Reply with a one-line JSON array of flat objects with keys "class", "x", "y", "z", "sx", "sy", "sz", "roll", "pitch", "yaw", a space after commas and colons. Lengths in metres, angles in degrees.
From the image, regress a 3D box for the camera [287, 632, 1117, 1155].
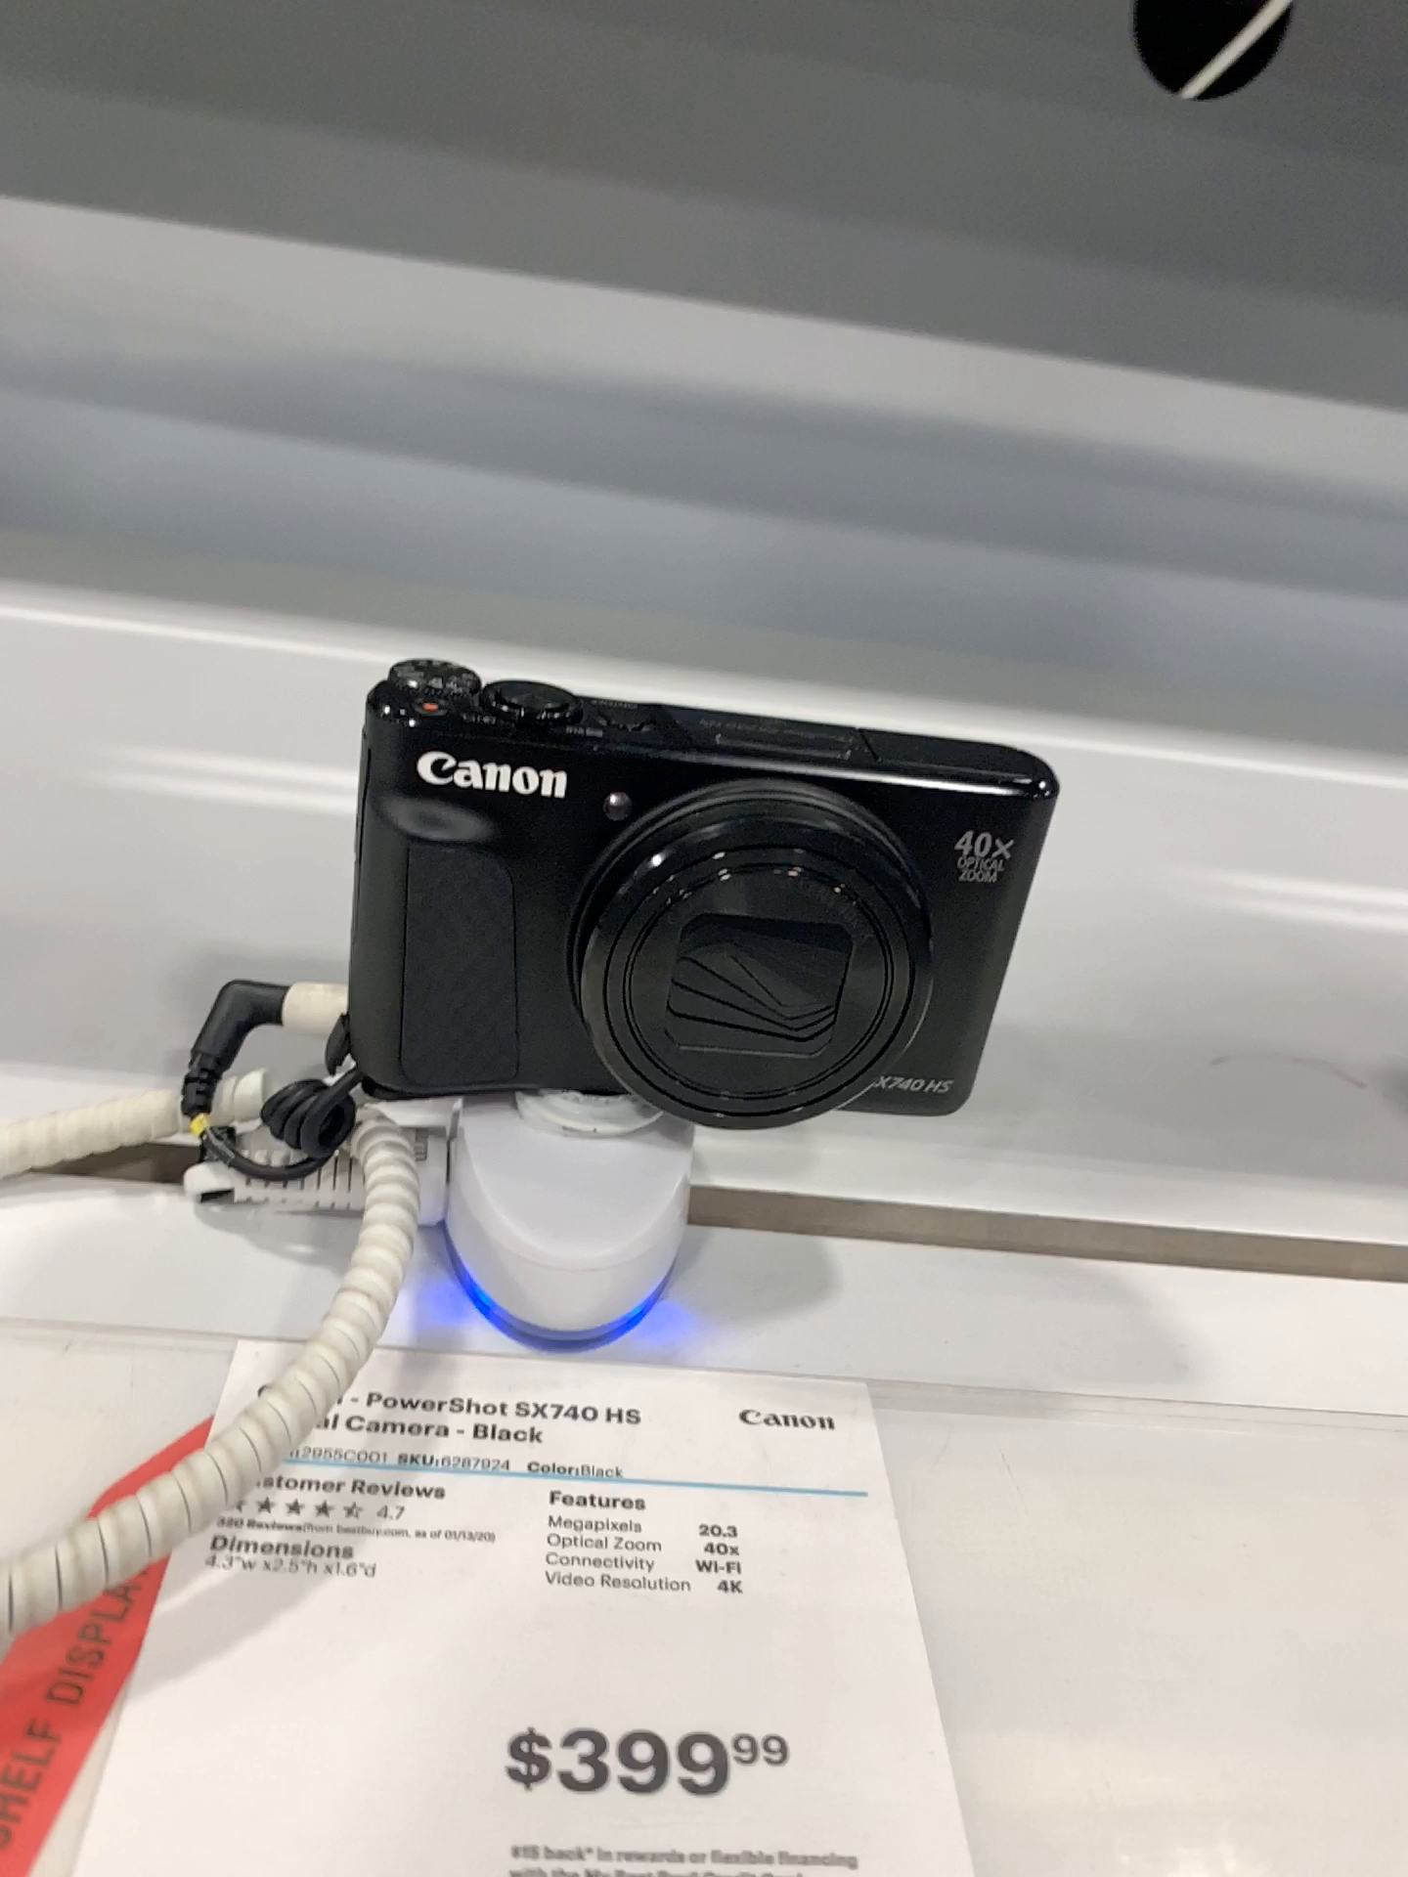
[{"class": "camera", "x": -0.004, "y": -0.006, "z": 0.245, "sx": 0.120, "sy": 0.063, "sz": 0.042, "roll": 6, "pitch": 26, "yaw": -10}]
